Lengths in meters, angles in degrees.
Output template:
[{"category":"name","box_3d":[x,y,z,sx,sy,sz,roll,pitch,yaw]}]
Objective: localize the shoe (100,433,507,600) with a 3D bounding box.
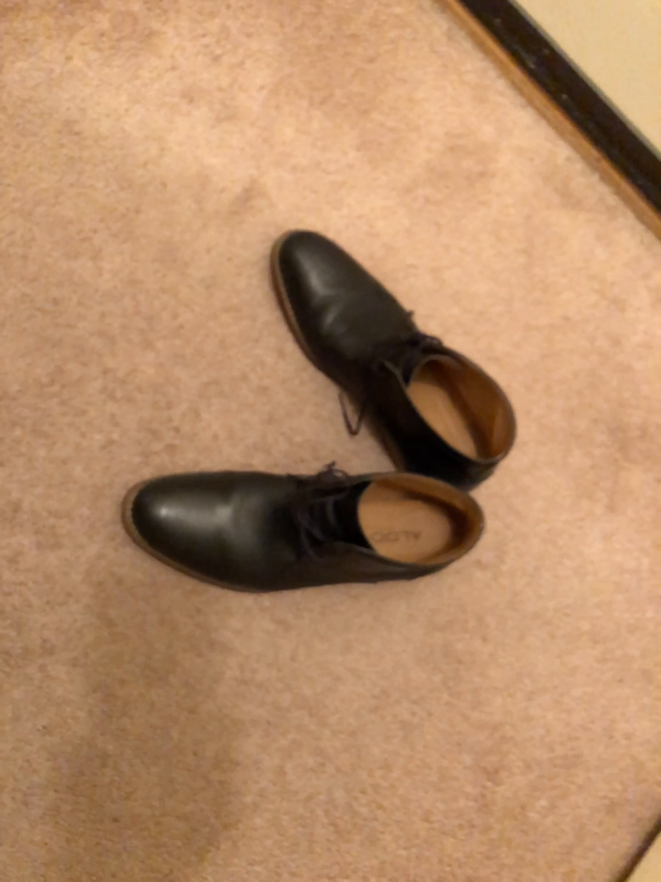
[{"category":"shoe","box_3d":[-0.027,0.069,0.614,0.302,0.136,0.116,2,78,-14]}]

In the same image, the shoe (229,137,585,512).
[{"category":"shoe","box_3d":[0.059,-0.094,0.673,0.116,0.136,0.302,-42,90,-18]}]
